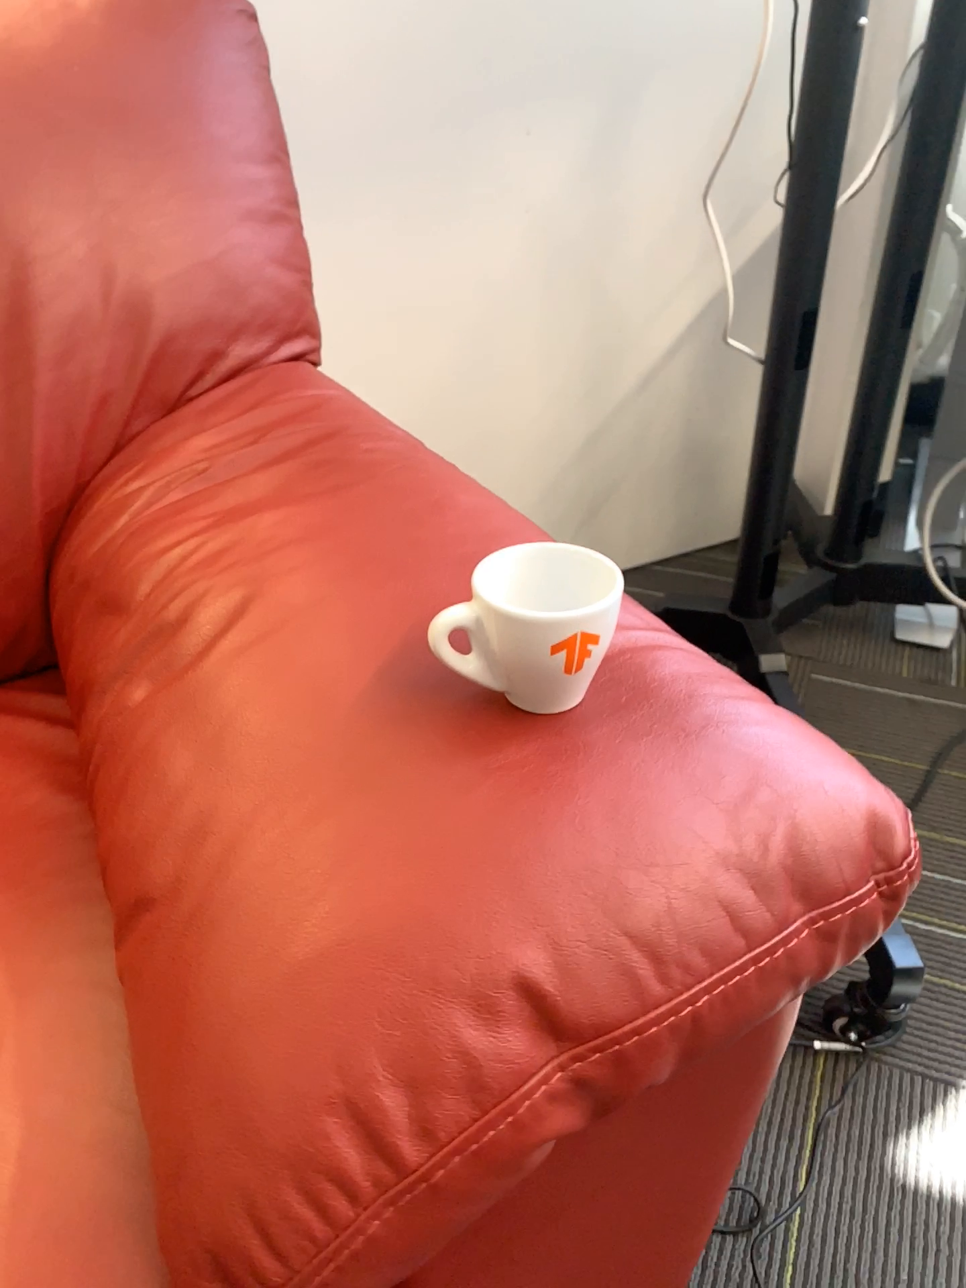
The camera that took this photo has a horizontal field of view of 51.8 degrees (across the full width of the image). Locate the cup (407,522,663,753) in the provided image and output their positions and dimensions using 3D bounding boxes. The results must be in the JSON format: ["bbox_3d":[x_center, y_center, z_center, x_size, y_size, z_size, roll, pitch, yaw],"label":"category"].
[{"bbox_3d":[0.020,-0.004,0.419,0.090,0.060,0.060,-10,36,-10],"label":"cup"}]
